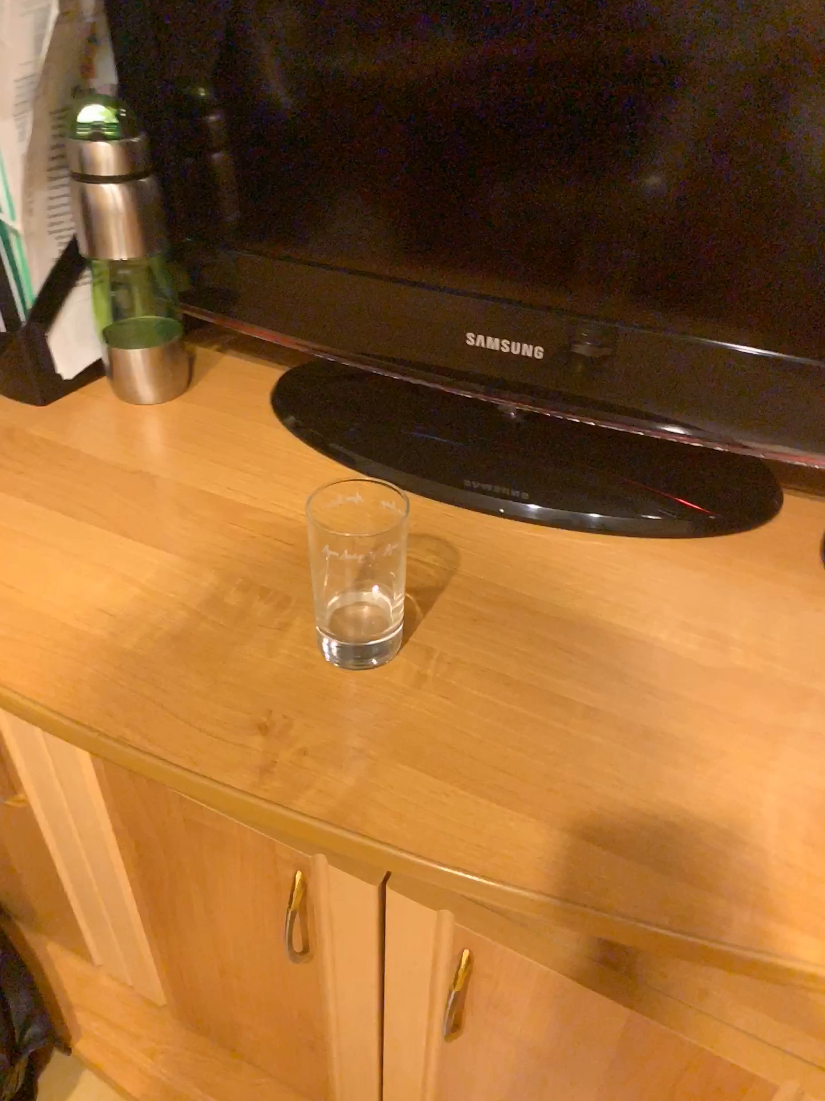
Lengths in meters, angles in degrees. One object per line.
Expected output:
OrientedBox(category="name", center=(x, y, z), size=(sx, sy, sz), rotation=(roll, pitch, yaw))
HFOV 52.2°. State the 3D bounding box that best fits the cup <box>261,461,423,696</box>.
OrientedBox(category="cup", center=(-0.036, 0.015, 0.466), size=(0.061, 0.098, 0.060), rotation=(1, 36, 0))
